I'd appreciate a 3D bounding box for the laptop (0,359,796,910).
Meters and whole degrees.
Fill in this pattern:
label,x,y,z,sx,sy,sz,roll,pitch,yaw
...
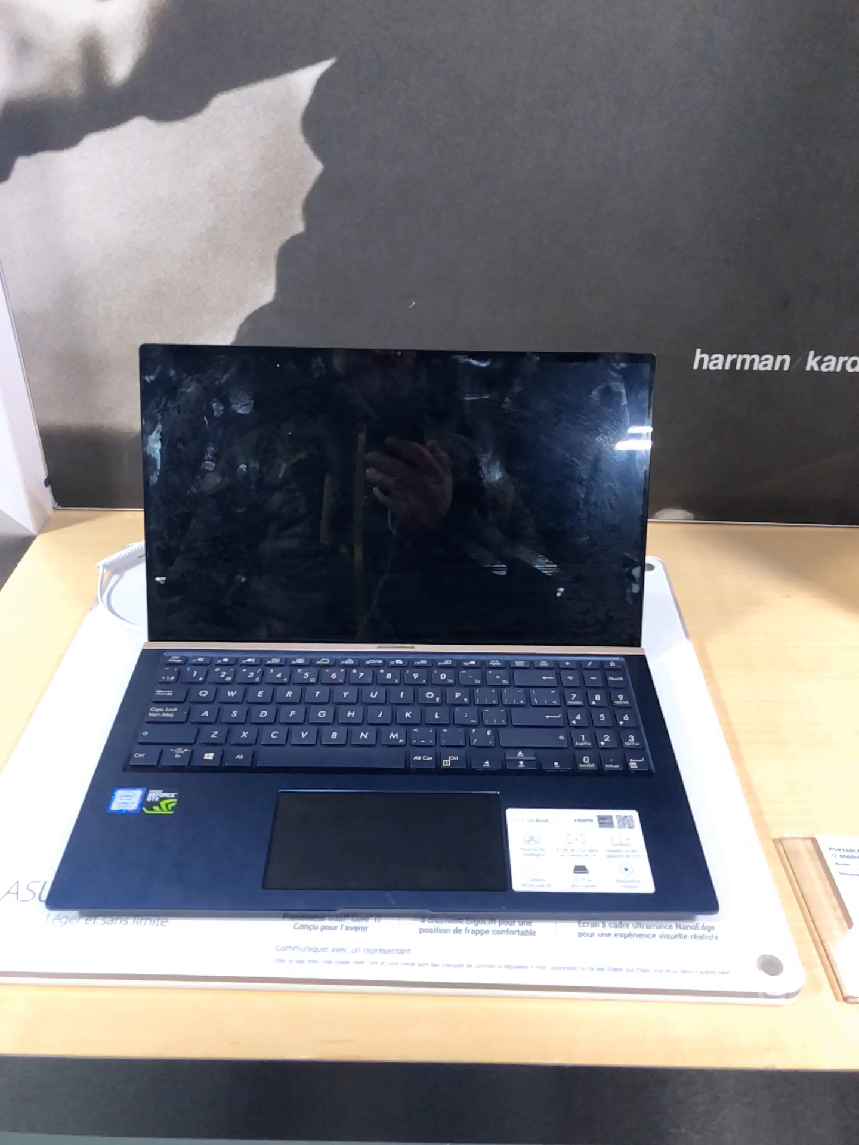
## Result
label,x,y,z,sx,sy,sz,roll,pitch,yaw
laptop,-0.020,0.013,0.541,0.330,0.173,0.294,0,34,1
